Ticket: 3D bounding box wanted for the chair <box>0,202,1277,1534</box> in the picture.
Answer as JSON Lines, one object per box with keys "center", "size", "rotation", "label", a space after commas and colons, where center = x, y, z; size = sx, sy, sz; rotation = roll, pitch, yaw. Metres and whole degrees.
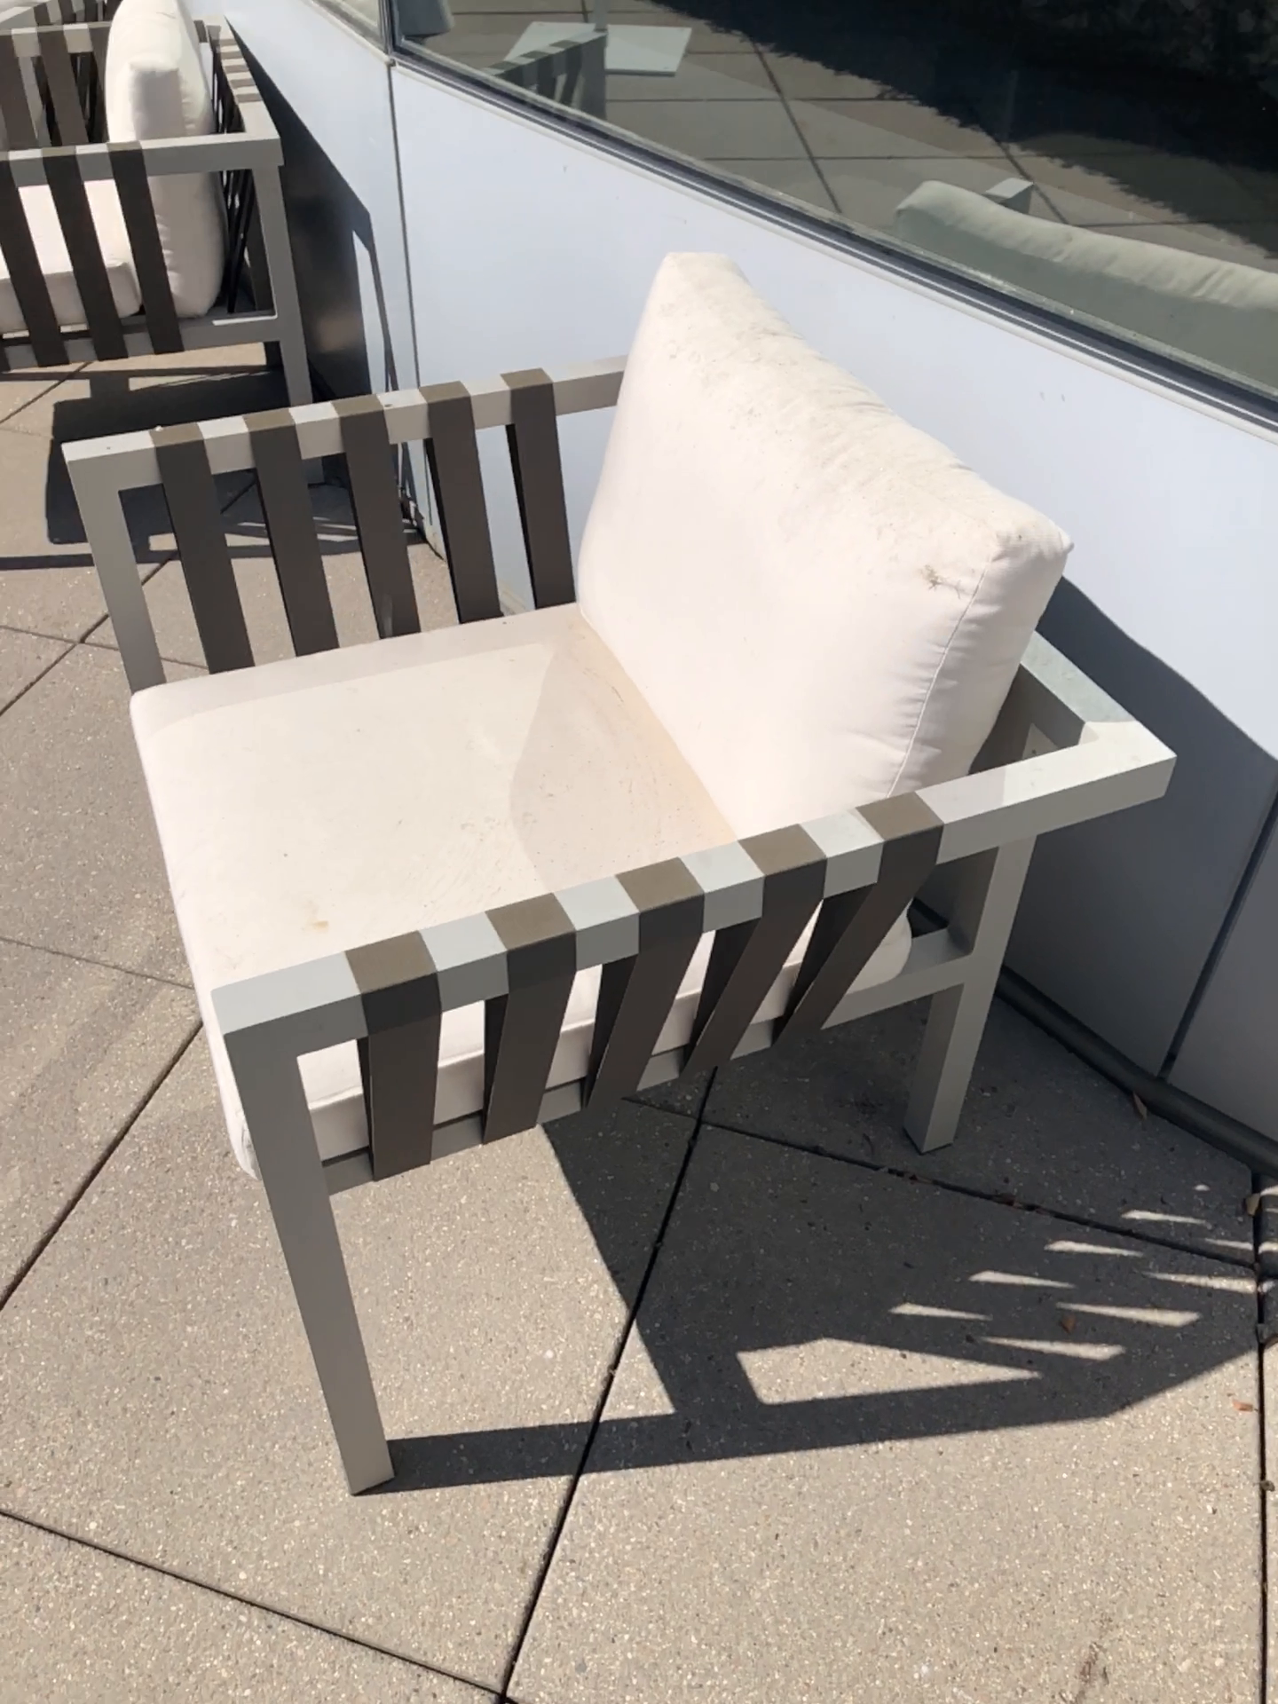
{"center": [-0.073, -0.065, 1.366], "size": [0.780, 0.737, 0.874], "rotation": [-15, 44, -17], "label": "chair"}
